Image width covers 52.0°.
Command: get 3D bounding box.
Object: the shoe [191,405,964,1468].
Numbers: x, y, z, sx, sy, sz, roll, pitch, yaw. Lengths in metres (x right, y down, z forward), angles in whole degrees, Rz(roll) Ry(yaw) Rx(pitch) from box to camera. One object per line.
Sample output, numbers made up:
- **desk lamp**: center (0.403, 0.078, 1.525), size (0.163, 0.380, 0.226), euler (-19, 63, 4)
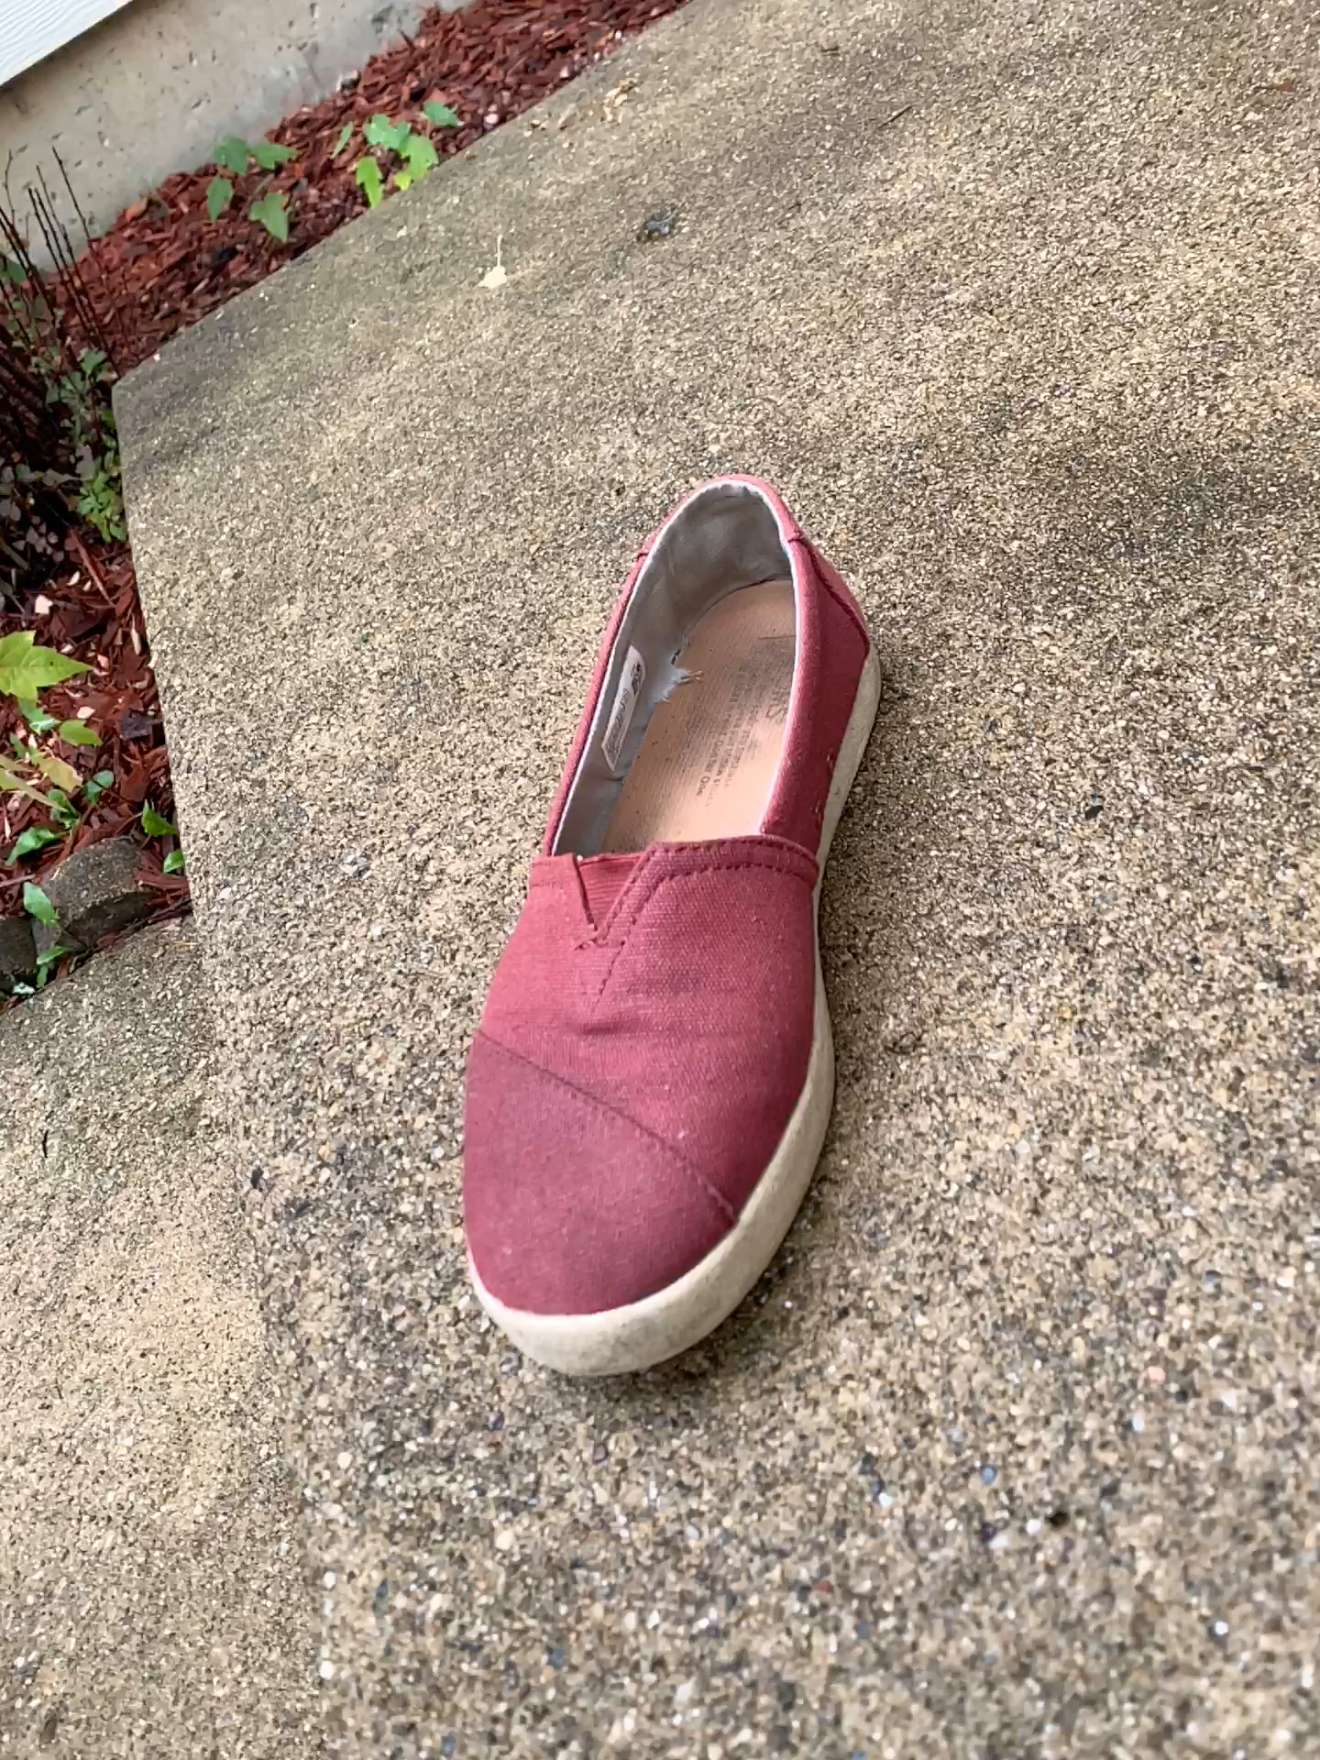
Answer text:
- **shoe**: center (0.000, -0.002, 0.364), size (0.098, 0.089, 0.266), euler (-2, 51, 30)
